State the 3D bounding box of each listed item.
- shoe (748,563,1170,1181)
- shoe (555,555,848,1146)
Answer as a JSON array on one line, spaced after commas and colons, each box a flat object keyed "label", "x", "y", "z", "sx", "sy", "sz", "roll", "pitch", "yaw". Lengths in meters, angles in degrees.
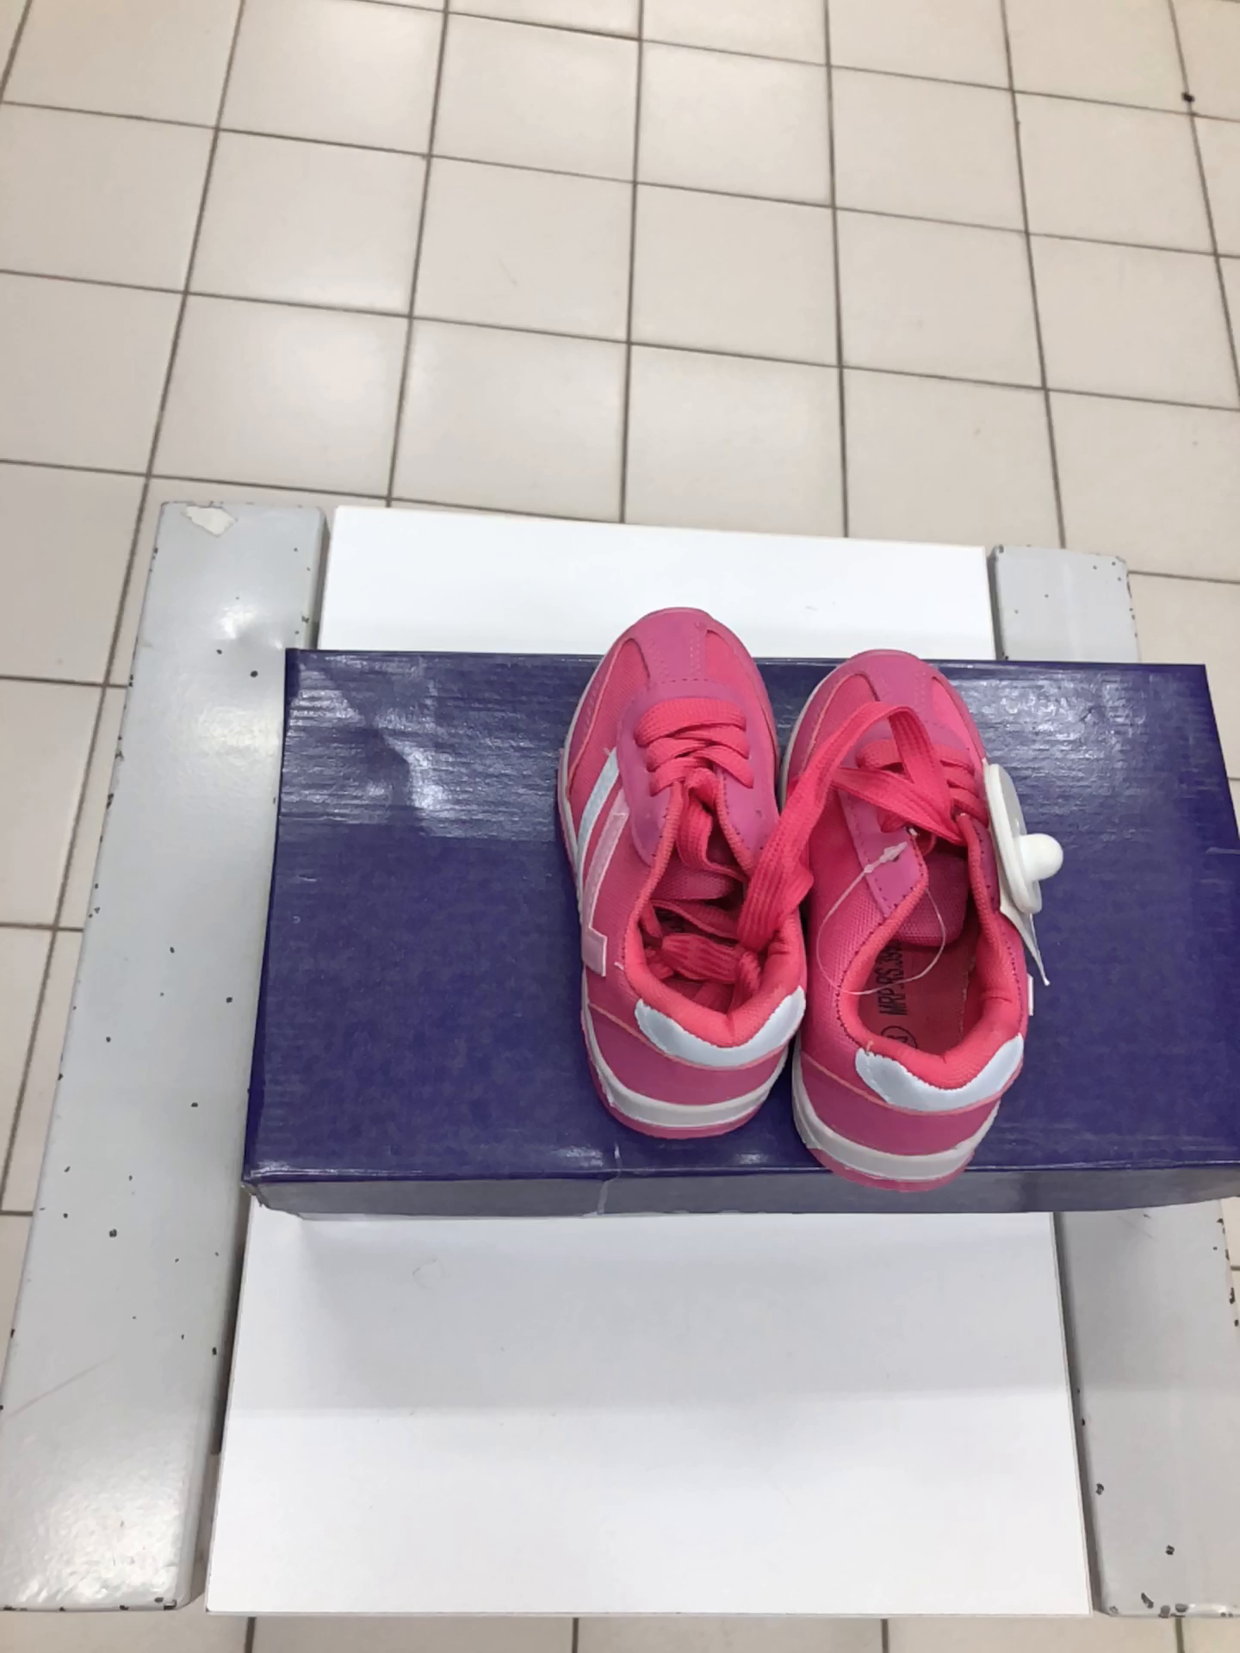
[{"label": "shoe", "x": 0.090, "y": 0.017, "z": 0.408, "sx": 0.080, "sy": 0.090, "sz": 0.160, "roll": 2, "pitch": 67, "yaw": -7}, {"label": "shoe", "x": 0.018, "y": 0.011, "z": 0.426, "sx": 0.070, "sy": 0.090, "sz": 0.160, "roll": 2, "pitch": 67, "yaw": -7}]
